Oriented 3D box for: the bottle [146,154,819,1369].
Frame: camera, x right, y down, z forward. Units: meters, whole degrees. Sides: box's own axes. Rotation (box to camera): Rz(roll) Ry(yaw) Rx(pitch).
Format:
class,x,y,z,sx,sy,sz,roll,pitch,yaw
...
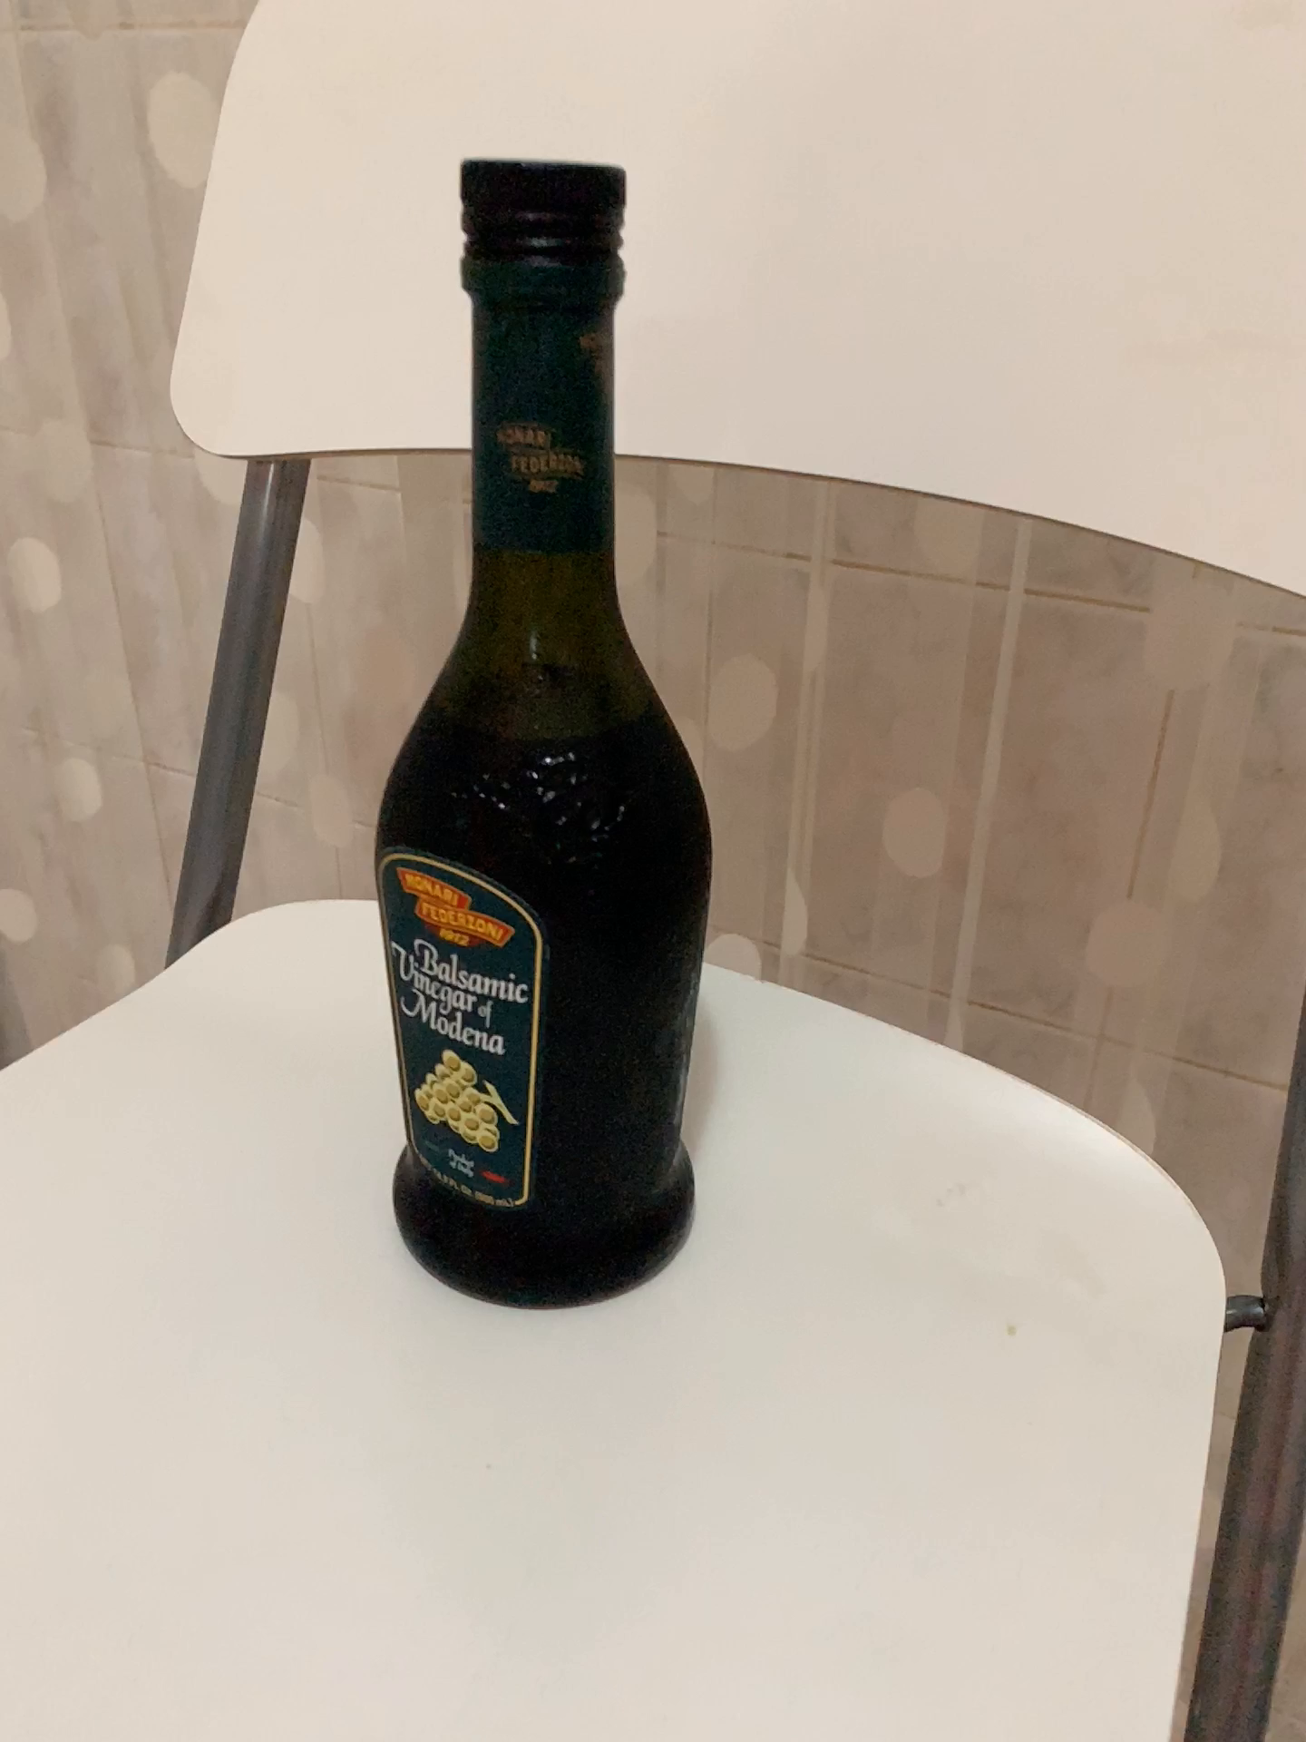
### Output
class,x,y,z,sx,sy,sz,roll,pitch,yaw
bottle,-0.030,-0.021,0.299,0.090,0.243,0.080,17,32,27
